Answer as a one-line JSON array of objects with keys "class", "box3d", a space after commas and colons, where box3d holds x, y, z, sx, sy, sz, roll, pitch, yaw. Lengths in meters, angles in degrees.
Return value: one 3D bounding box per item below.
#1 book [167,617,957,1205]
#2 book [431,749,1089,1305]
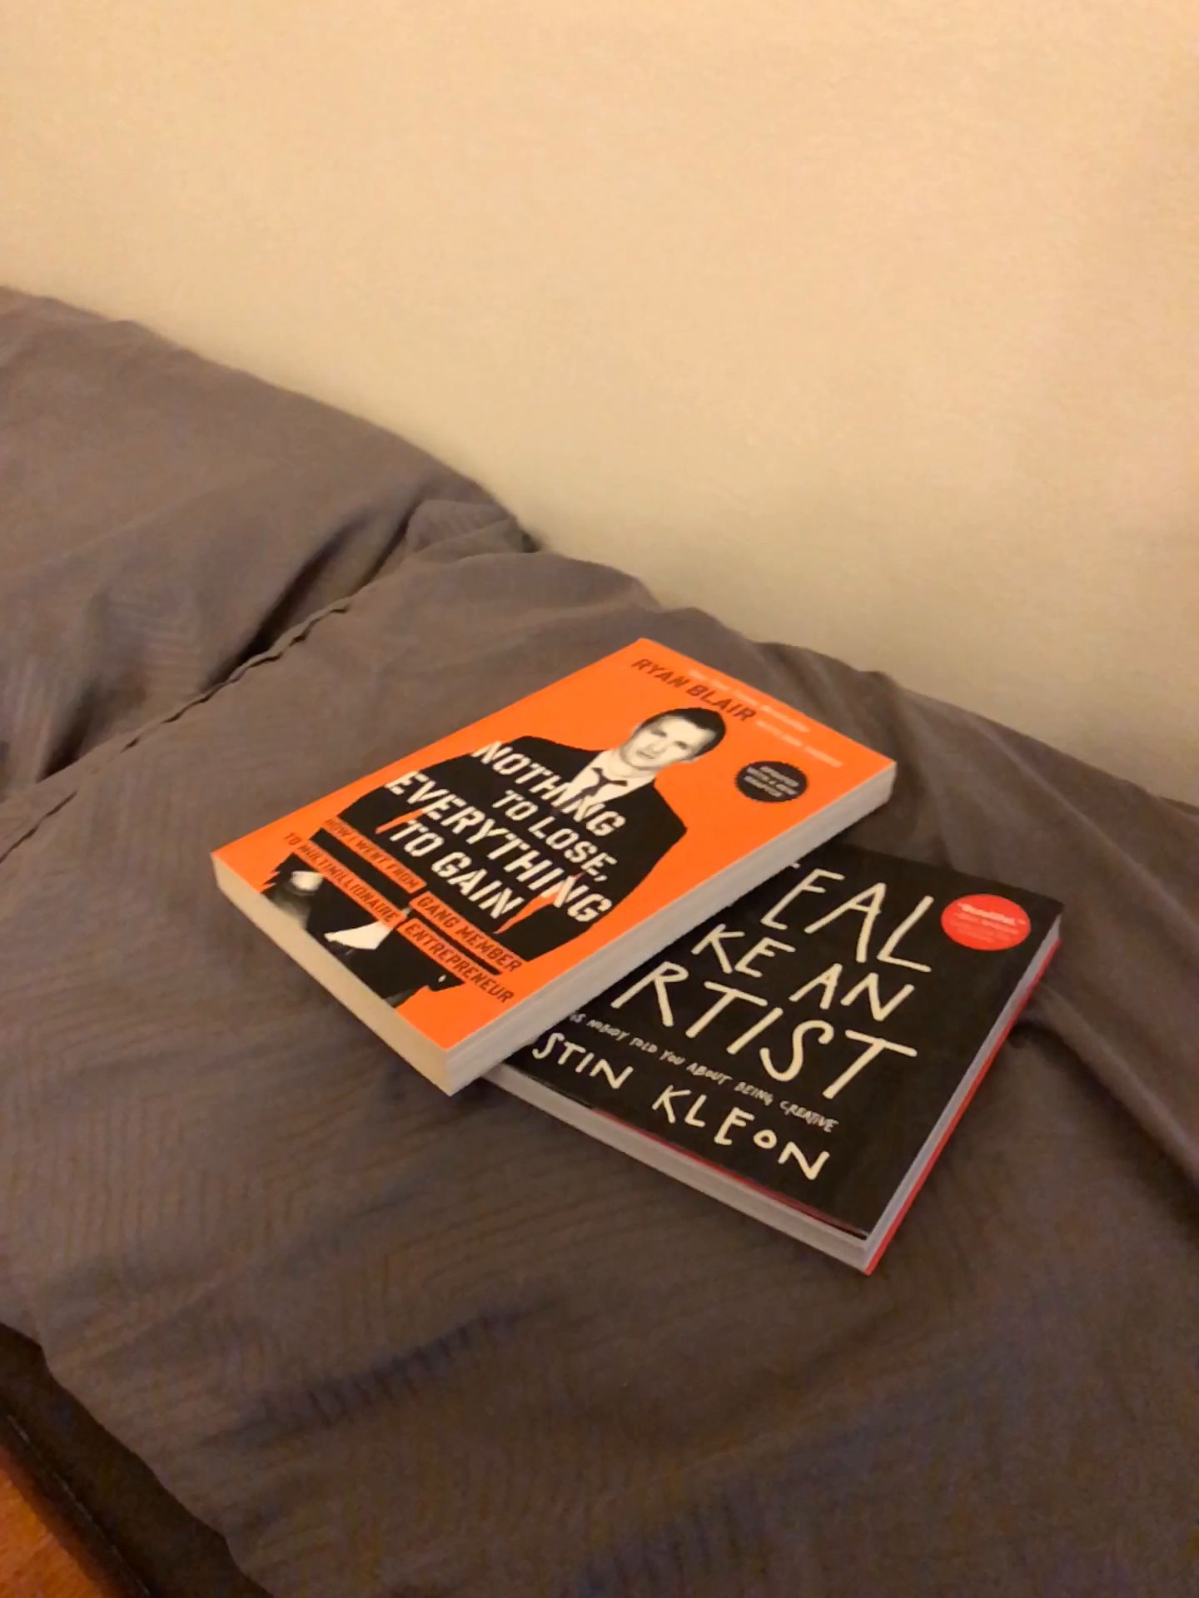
[{"class": "book", "box3d": [-0.010, 0.018, 0.483, 0.231, 0.020, 0.171, -33, 48, -32]}, {"class": "book", "box3d": [0.058, 0.057, 0.434, 0.150, 0.020, 0.171, 21, 43, 26]}]
